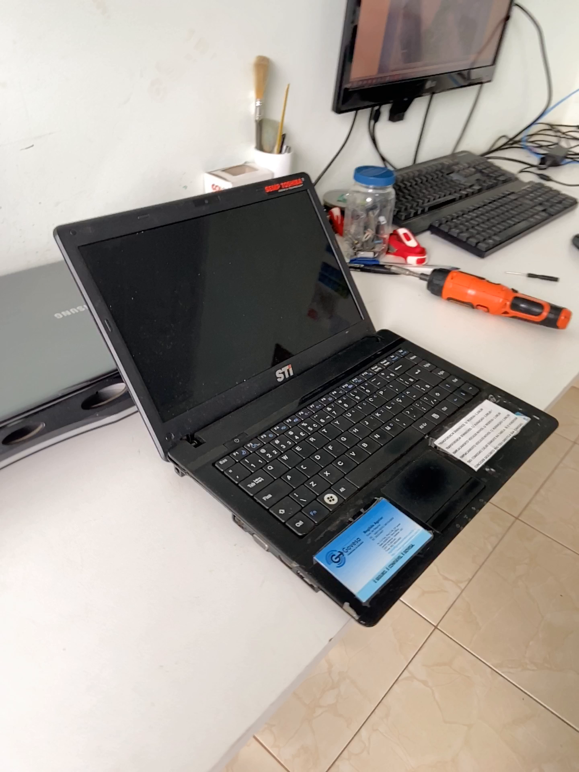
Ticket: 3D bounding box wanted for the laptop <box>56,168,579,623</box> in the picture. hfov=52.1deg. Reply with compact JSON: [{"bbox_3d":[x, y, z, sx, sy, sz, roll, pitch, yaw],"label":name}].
[{"bbox_3d":[0.040,-0.051,0.575,0.385,0.159,0.336,32,43,31],"label":"laptop"}]
